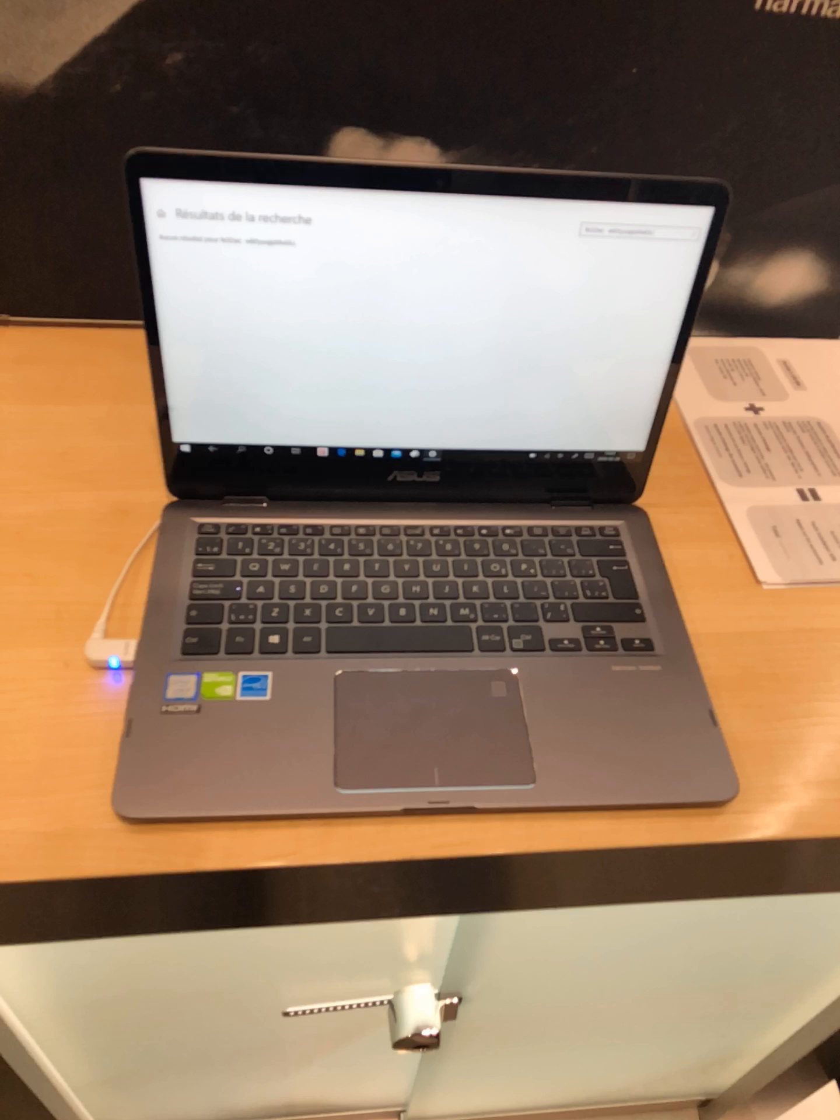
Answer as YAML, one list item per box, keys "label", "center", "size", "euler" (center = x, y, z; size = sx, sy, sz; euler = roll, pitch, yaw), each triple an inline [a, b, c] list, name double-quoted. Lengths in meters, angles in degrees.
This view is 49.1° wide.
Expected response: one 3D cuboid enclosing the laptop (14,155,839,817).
- label: "laptop"
  center: [0.012, -0.036, 0.474]
  size: [0.320, 0.224, 0.240]
  euler: [0, 47, -7]
